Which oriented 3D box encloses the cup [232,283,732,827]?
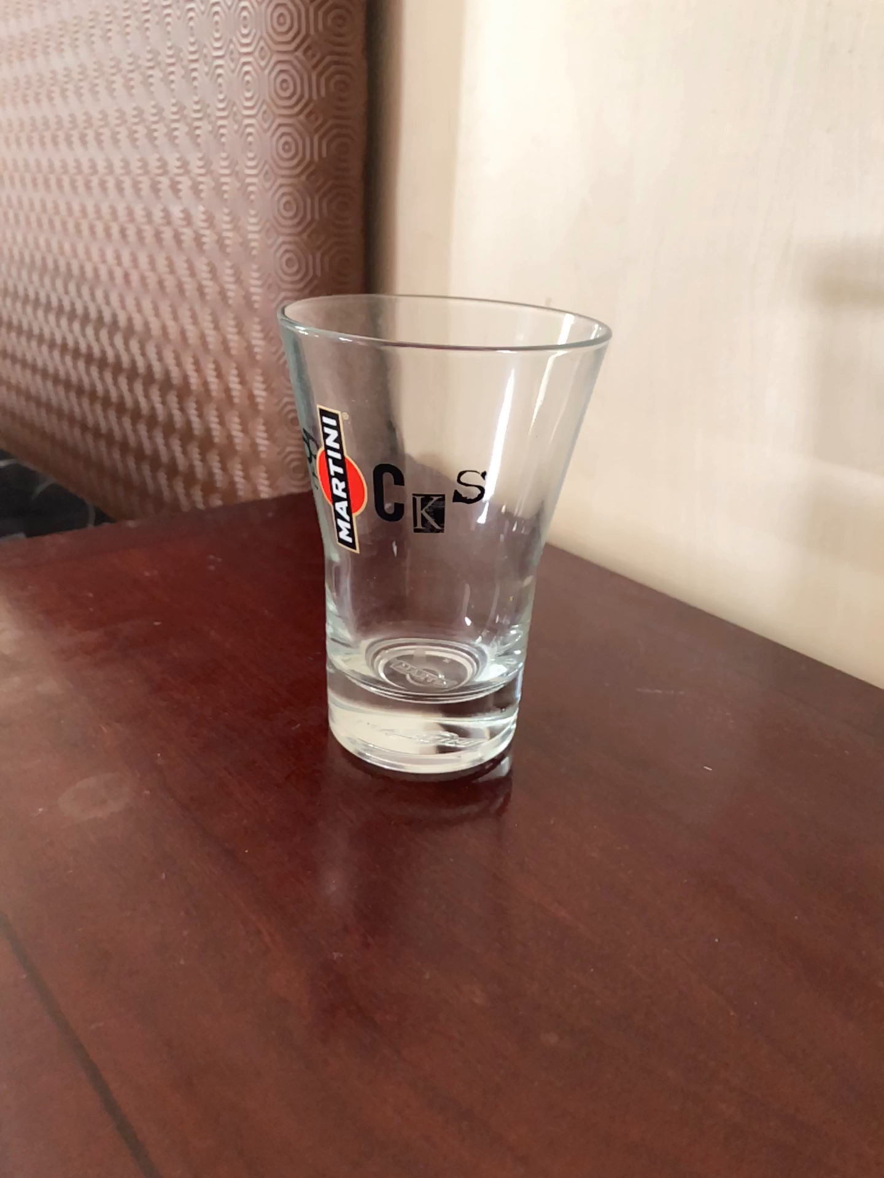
[{"bbox_3d":[0.006,-0.021,0.282,0.094,0.118,0.094,3,22,-1],"label":"cup"}]
